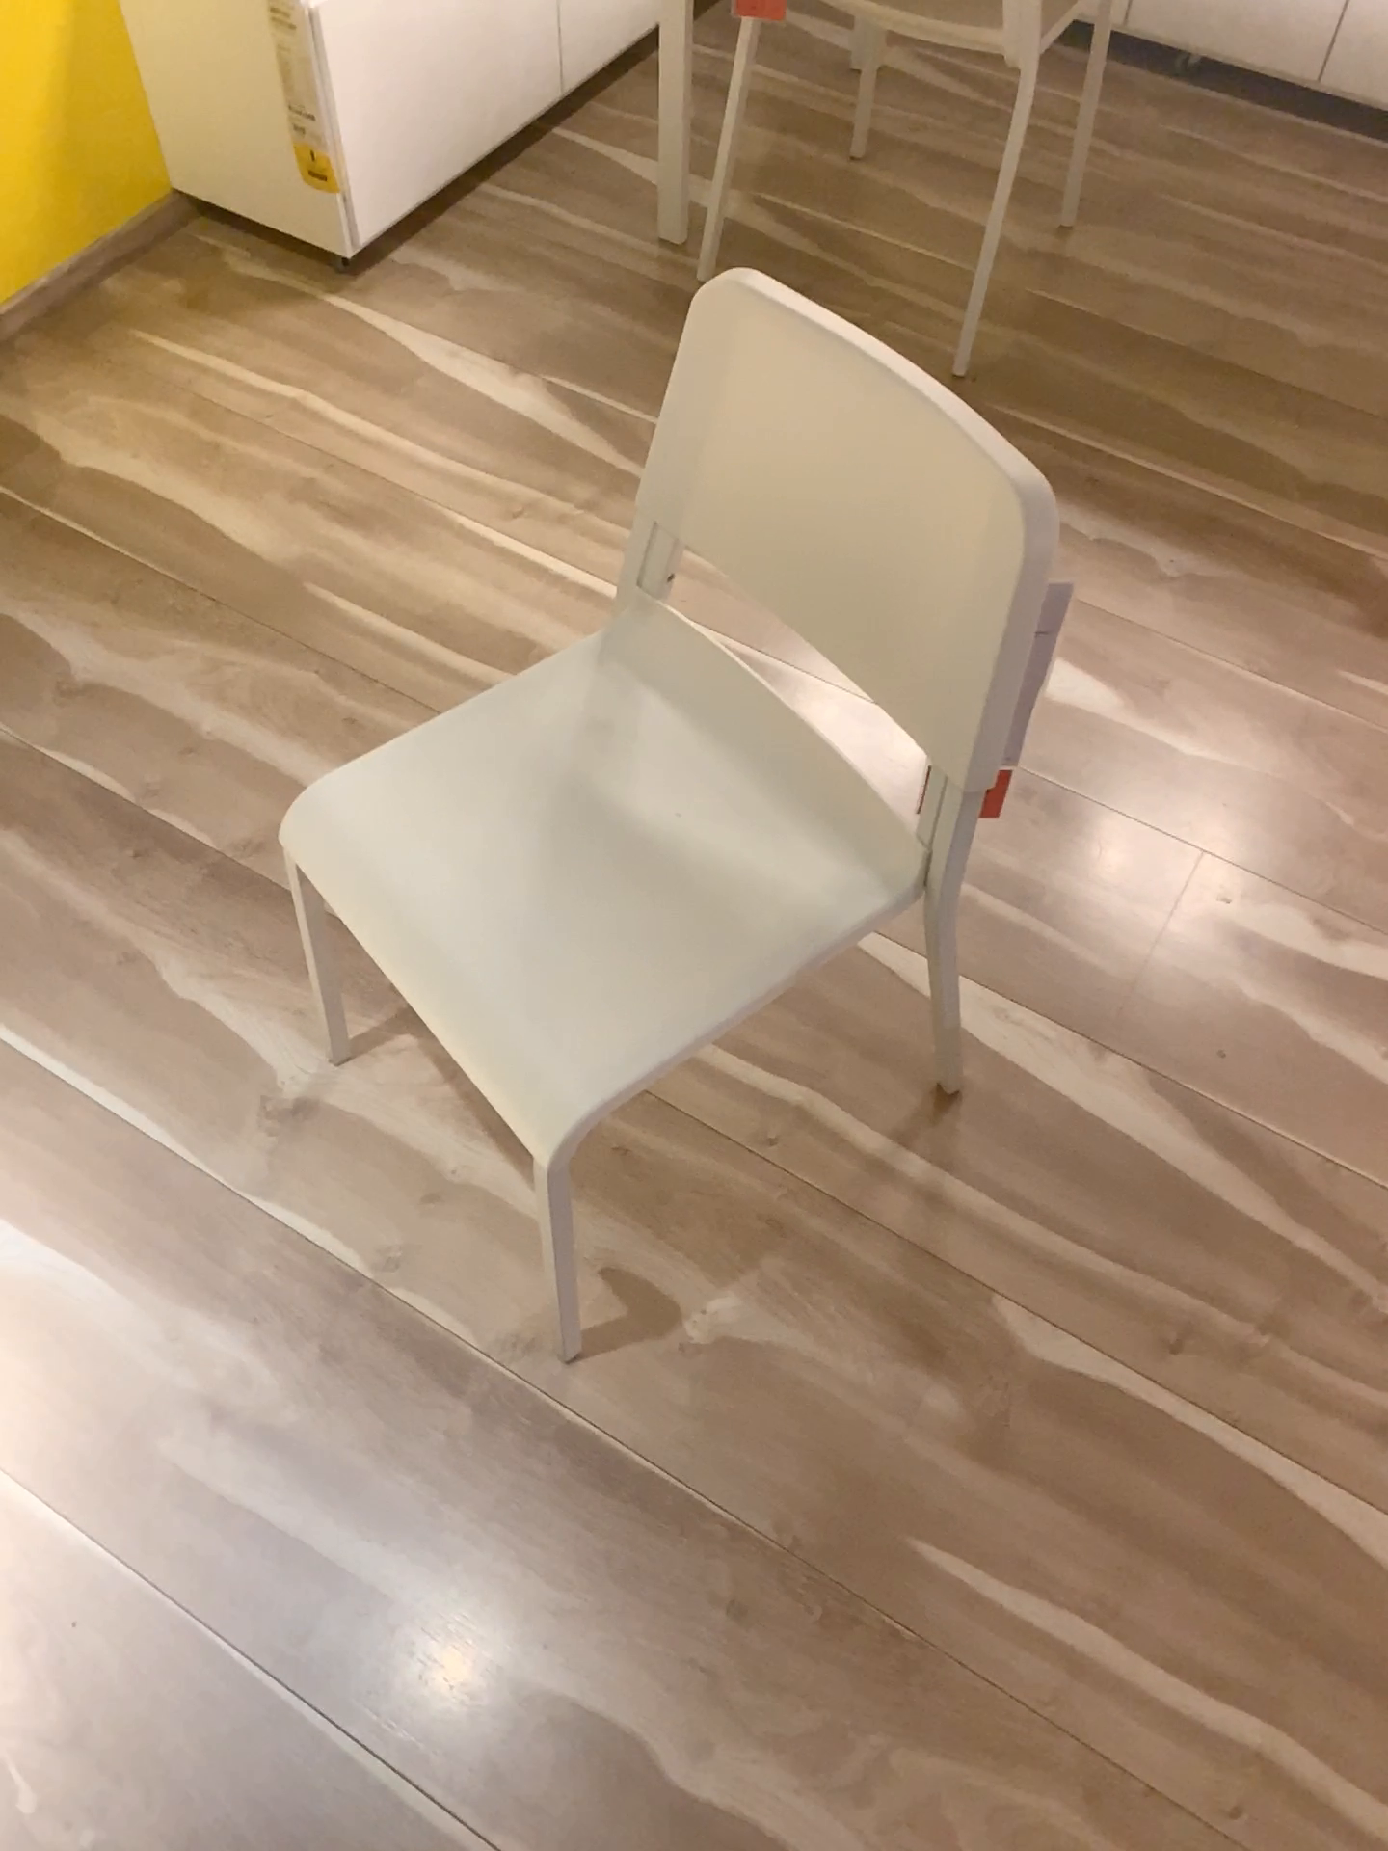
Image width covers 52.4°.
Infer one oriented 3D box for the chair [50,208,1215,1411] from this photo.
[{"bbox_3d":[-0.050,-0.063,1.209,0.550,0.708,0.521,-35,64,-22],"label":"chair"}]
